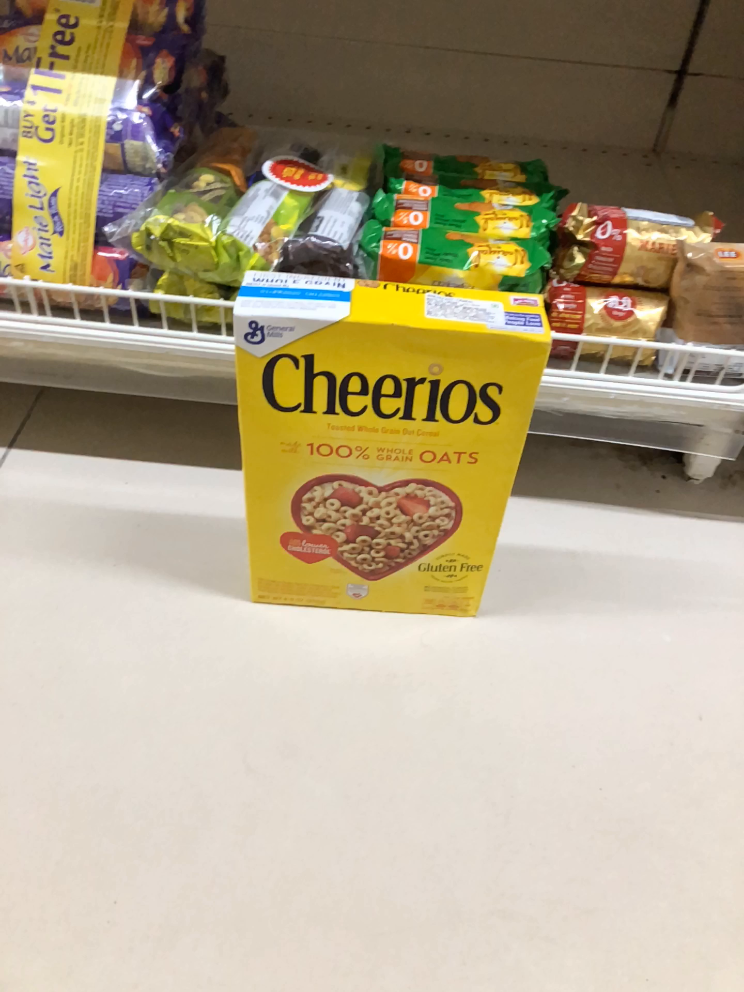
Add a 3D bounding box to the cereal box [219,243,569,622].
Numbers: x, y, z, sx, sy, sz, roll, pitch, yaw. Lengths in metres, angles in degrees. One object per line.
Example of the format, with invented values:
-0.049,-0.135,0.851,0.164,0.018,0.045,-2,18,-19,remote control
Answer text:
0.004,-0.026,0.589,0.200,0.288,0.060,4,45,-1,cereal box
